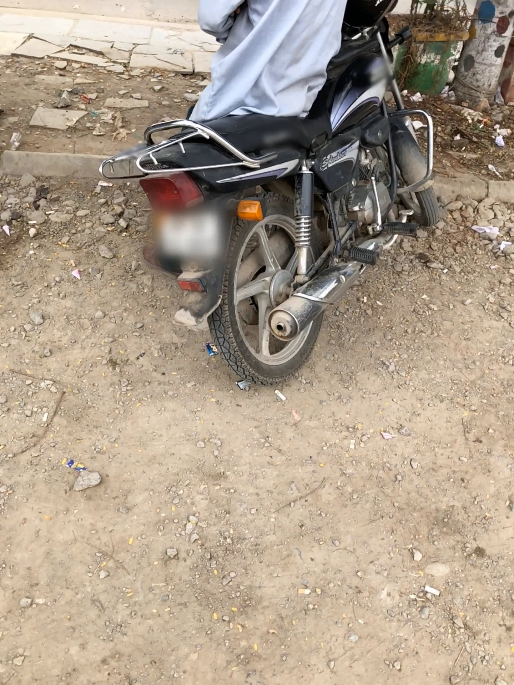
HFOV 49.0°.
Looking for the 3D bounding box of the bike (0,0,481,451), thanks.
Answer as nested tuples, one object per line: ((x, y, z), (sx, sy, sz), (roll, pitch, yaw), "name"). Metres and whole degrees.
((0.073, -0.722, 1.947), (0.739, 1.170, 1.605), (21, 44, 16), "bike")
